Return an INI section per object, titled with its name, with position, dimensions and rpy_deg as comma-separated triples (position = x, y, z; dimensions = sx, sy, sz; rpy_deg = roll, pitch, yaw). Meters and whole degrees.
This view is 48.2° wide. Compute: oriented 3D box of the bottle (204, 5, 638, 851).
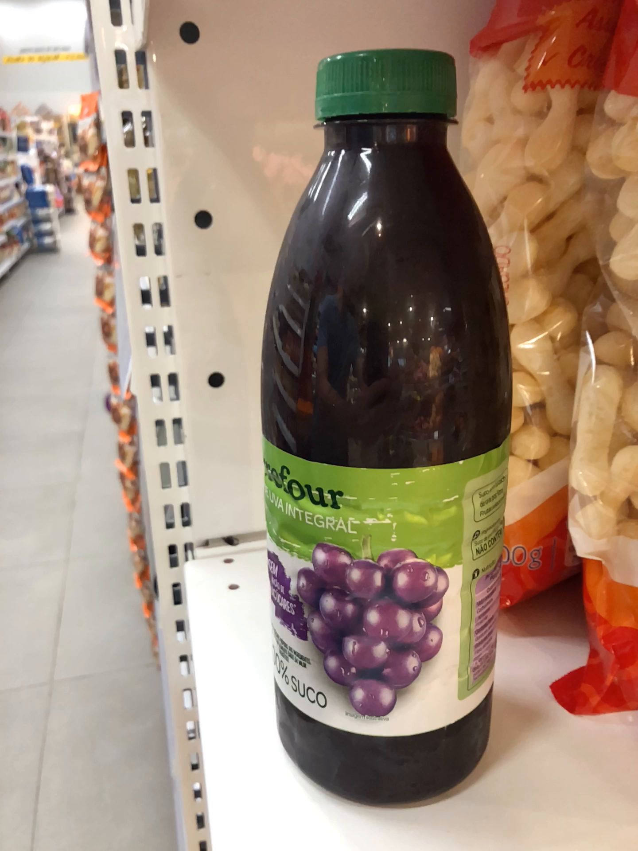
[bottle]
position = 0.027, 0.009, 0.225
dimensions = 0.080, 0.229, 0.090
rpy_deg = -13, 23, -28
